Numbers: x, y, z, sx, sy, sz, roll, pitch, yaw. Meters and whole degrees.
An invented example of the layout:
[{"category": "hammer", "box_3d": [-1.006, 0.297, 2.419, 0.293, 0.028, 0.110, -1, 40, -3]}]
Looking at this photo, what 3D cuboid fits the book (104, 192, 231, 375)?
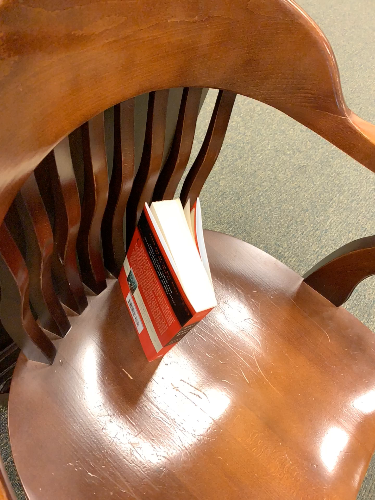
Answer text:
[{"category": "book", "box_3d": [-0.041, 0.050, 0.481, 0.071, 0.199, 0.150, -5, 62, -24]}]
